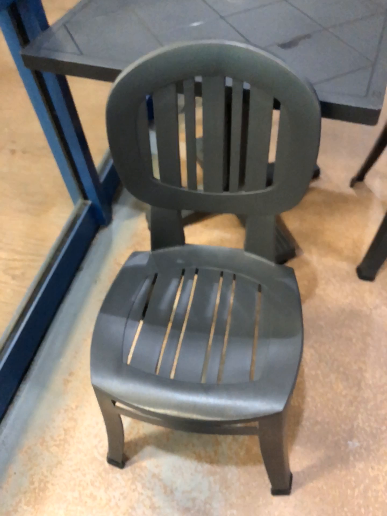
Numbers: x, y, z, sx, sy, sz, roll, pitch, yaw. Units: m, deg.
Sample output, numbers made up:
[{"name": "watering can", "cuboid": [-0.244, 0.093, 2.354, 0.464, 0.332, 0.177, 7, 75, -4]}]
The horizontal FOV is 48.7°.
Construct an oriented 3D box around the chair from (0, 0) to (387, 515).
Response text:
[{"name": "chair", "cuboid": [0.017, 0.054, 0.771, 0.500, 0.736, 0.553, 6, 54, 9]}]
